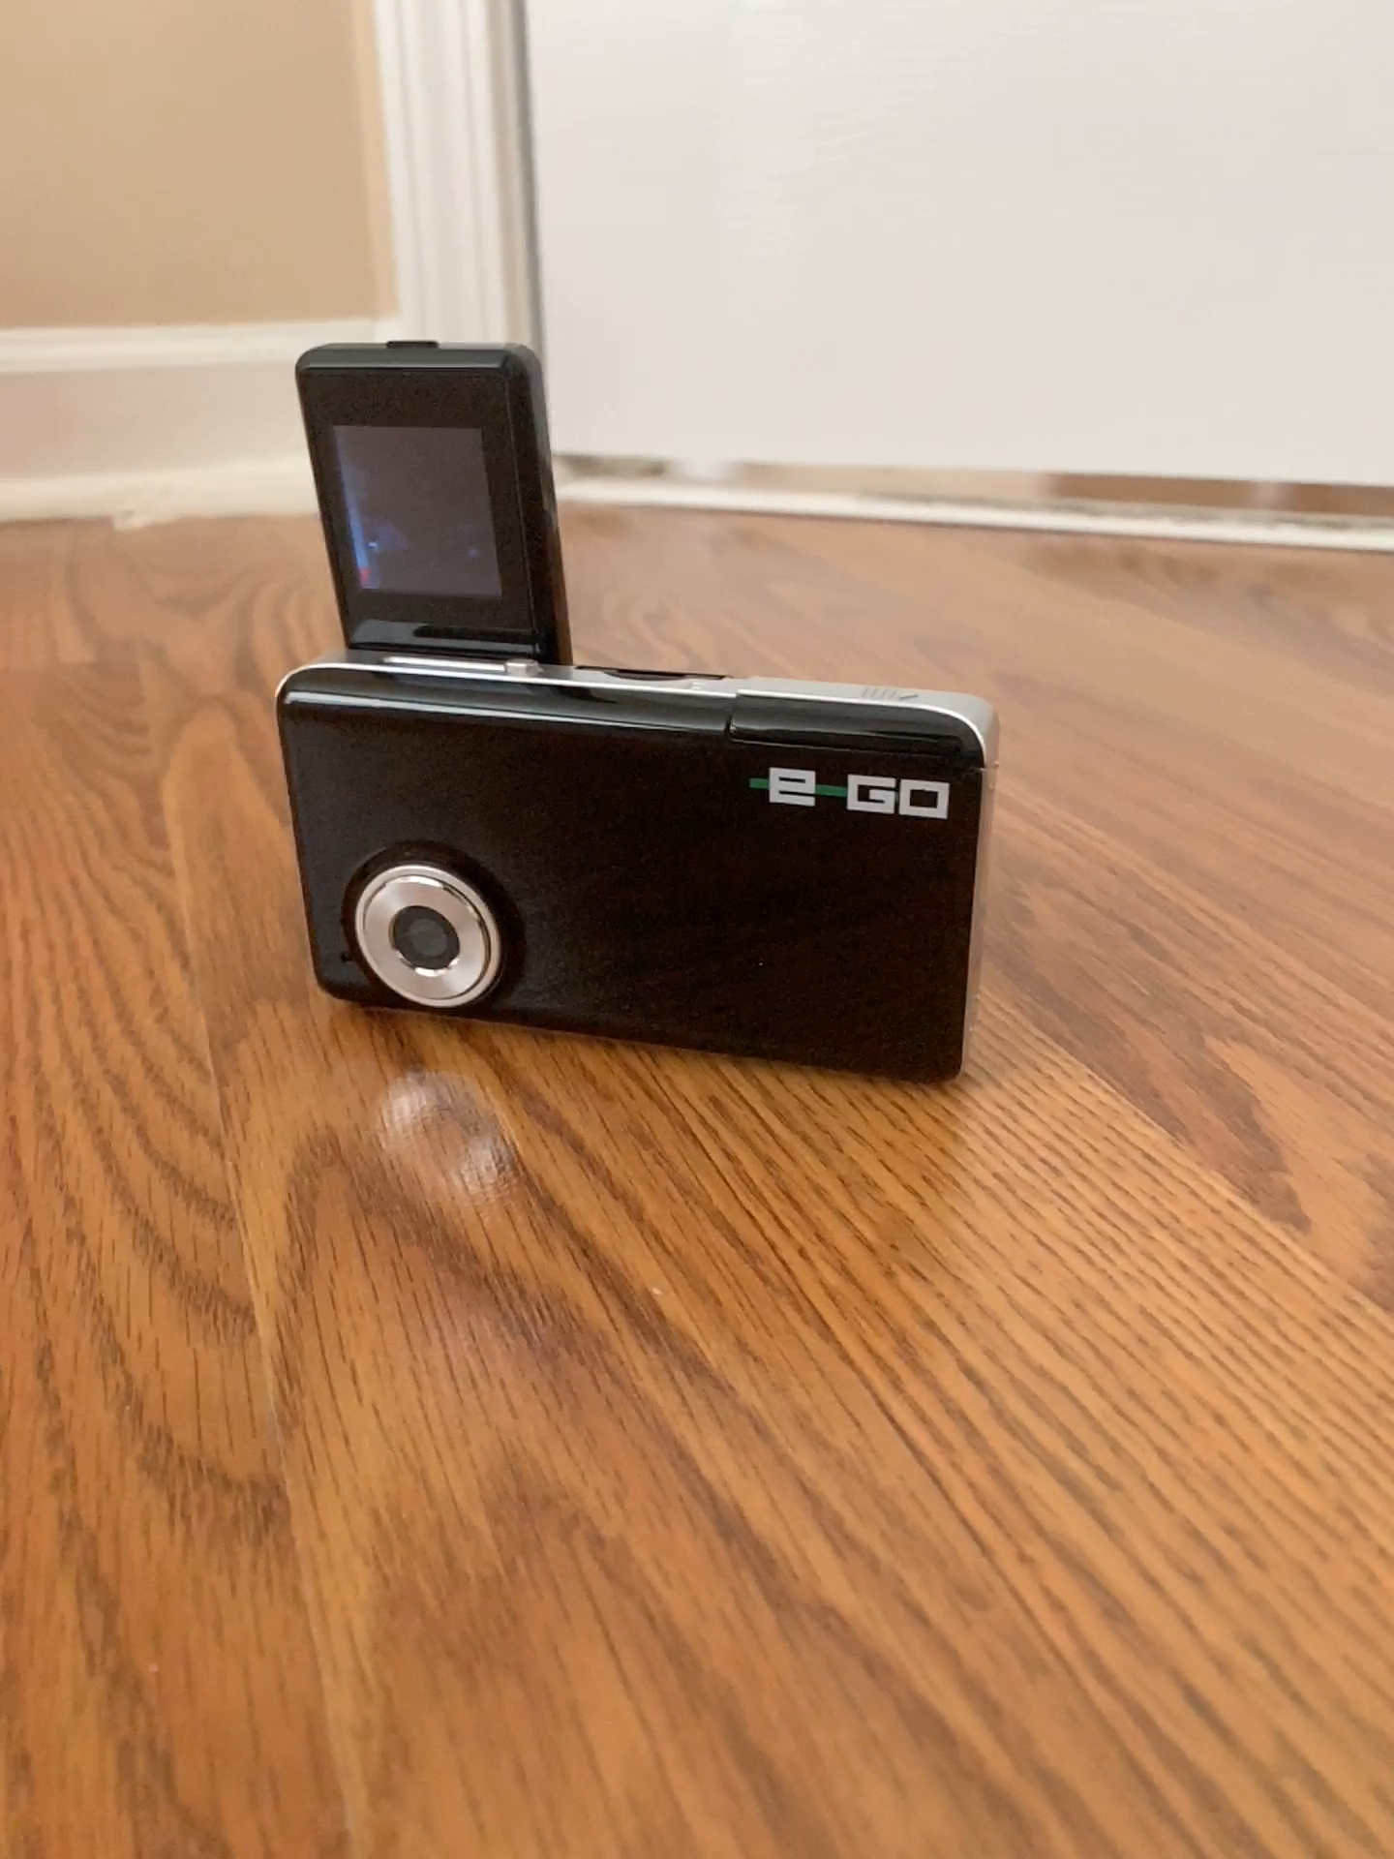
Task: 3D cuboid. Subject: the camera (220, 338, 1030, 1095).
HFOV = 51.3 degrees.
[{"bbox_3d":[-0.012,-0.035,0.235,0.118,0.111,0.022,7,26,16],"label":"camera"}]
